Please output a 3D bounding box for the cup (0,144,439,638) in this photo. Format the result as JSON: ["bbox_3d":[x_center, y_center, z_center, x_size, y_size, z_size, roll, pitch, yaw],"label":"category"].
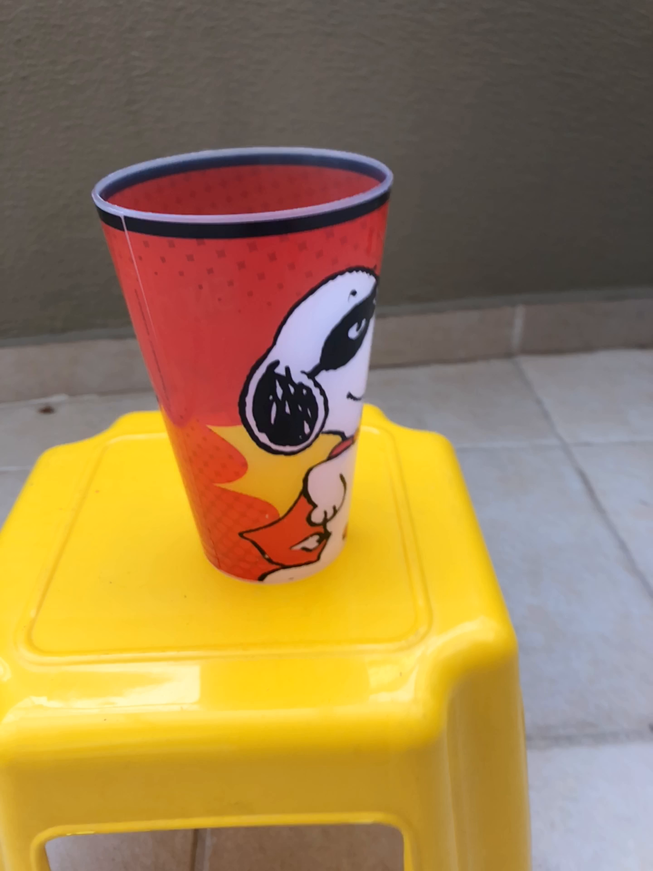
[{"bbox_3d":[-0.031,-0.026,0.282,0.110,0.139,0.100,-2,32,1],"label":"cup"}]
